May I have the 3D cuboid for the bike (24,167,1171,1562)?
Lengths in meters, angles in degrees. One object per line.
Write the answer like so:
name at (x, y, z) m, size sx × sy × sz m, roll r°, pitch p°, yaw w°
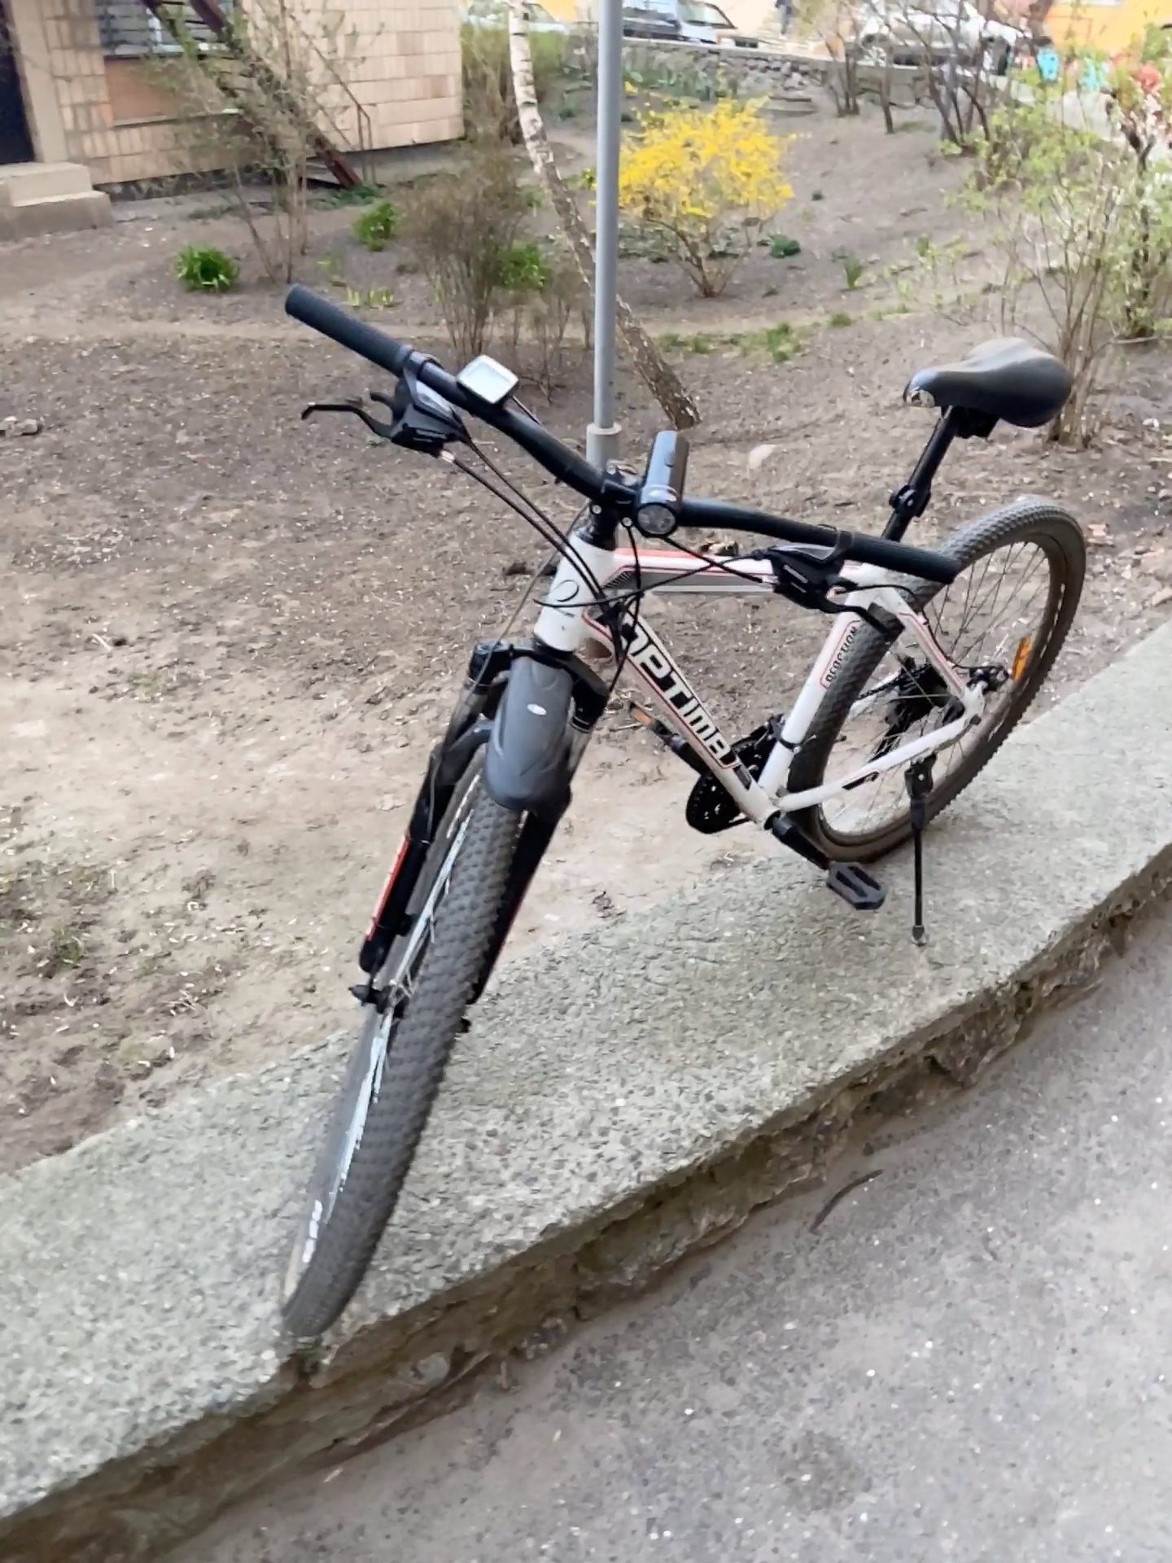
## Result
bike at (0.361, -0.007, 1.585) m, size 0.679 × 1.144 × 1.758 m, roll 27°, pitch 44°, yaw 33°
